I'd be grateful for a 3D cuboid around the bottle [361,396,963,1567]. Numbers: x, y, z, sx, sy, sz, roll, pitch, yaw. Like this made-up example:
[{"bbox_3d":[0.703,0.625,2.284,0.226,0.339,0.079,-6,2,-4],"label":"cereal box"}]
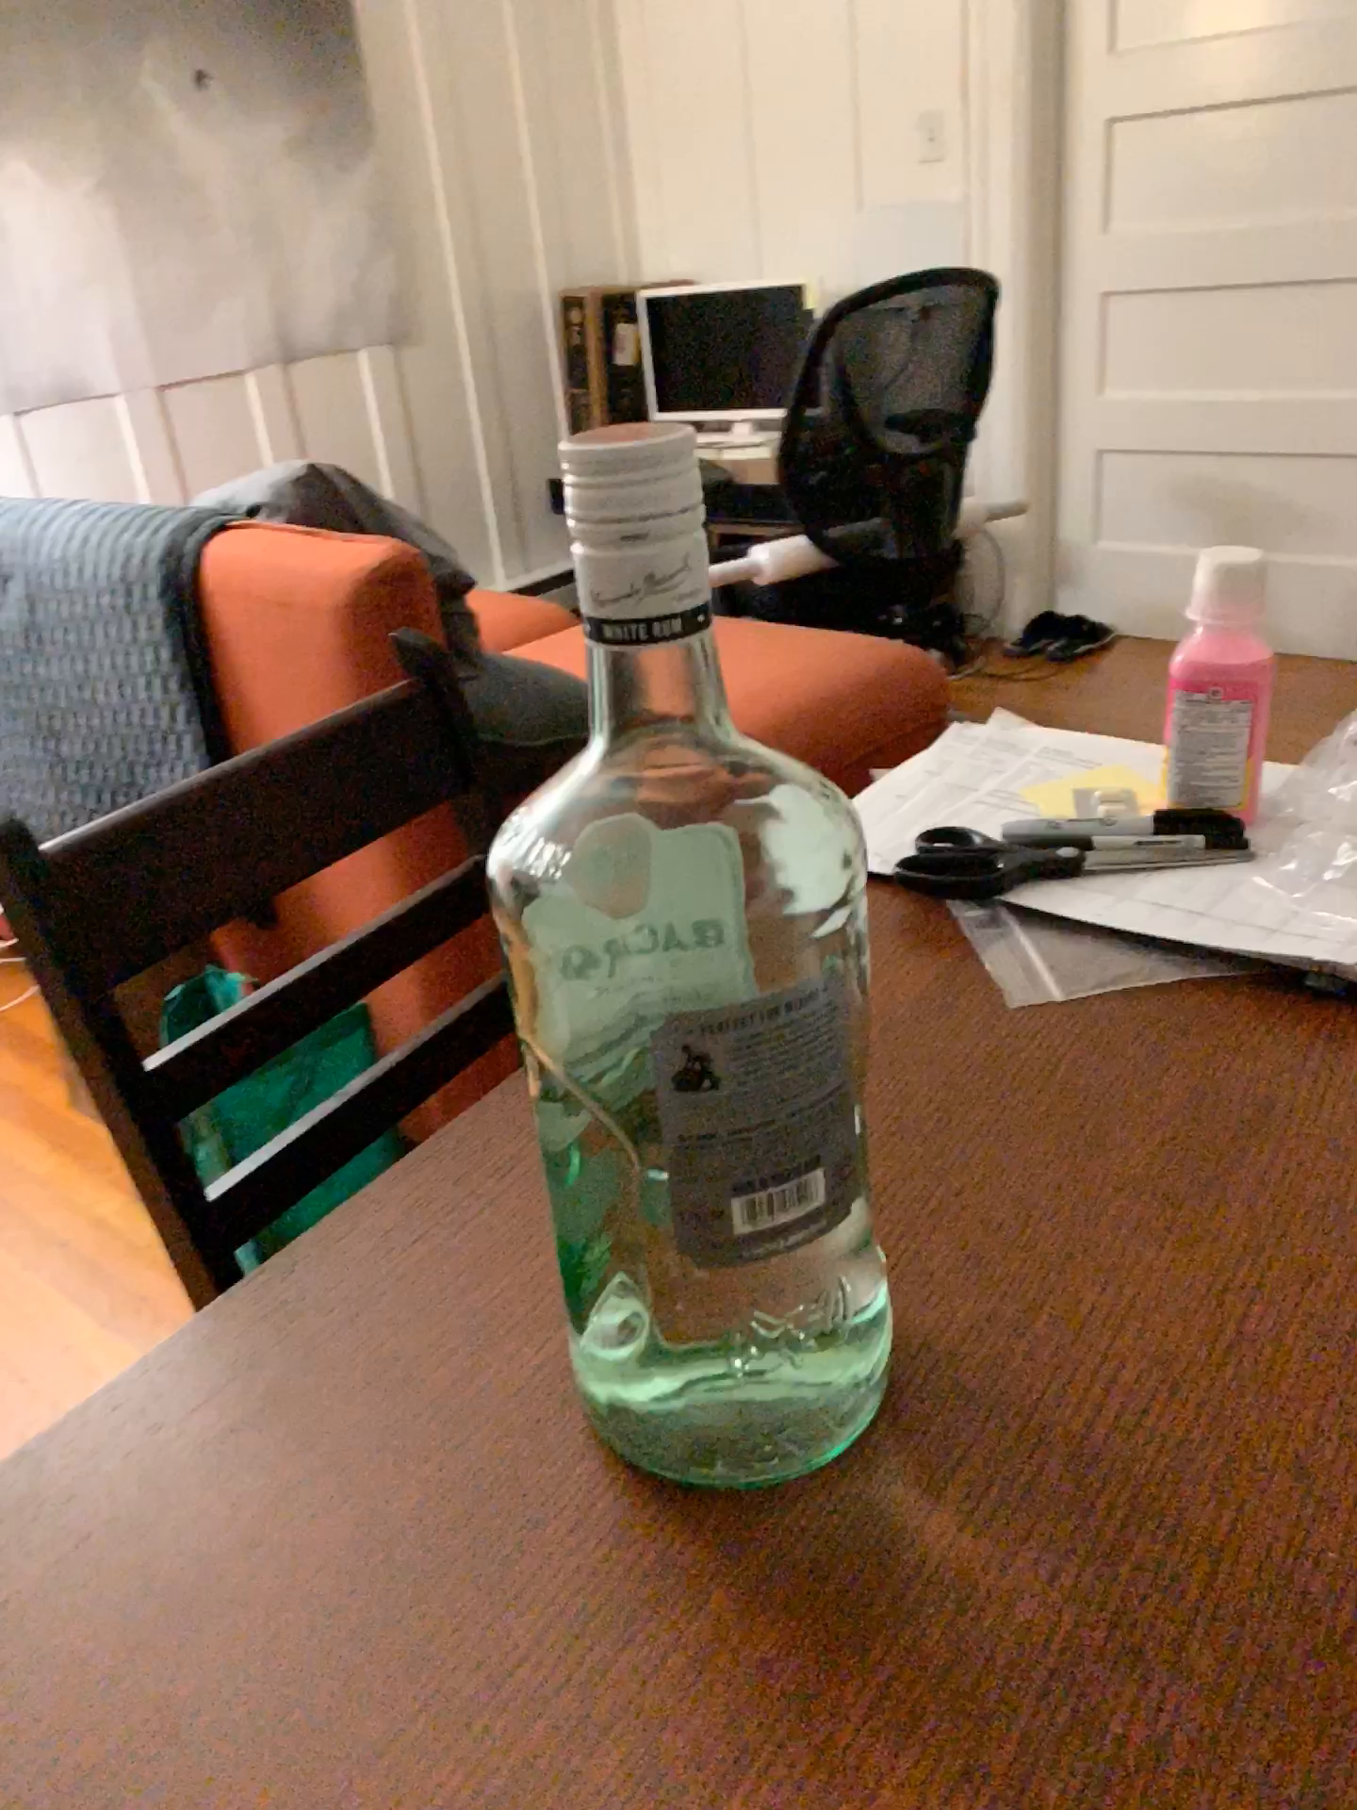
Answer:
[{"bbox_3d":[0.003,0.025,0.438,0.120,0.328,0.121,-5,26,3],"label":"bottle"}]
